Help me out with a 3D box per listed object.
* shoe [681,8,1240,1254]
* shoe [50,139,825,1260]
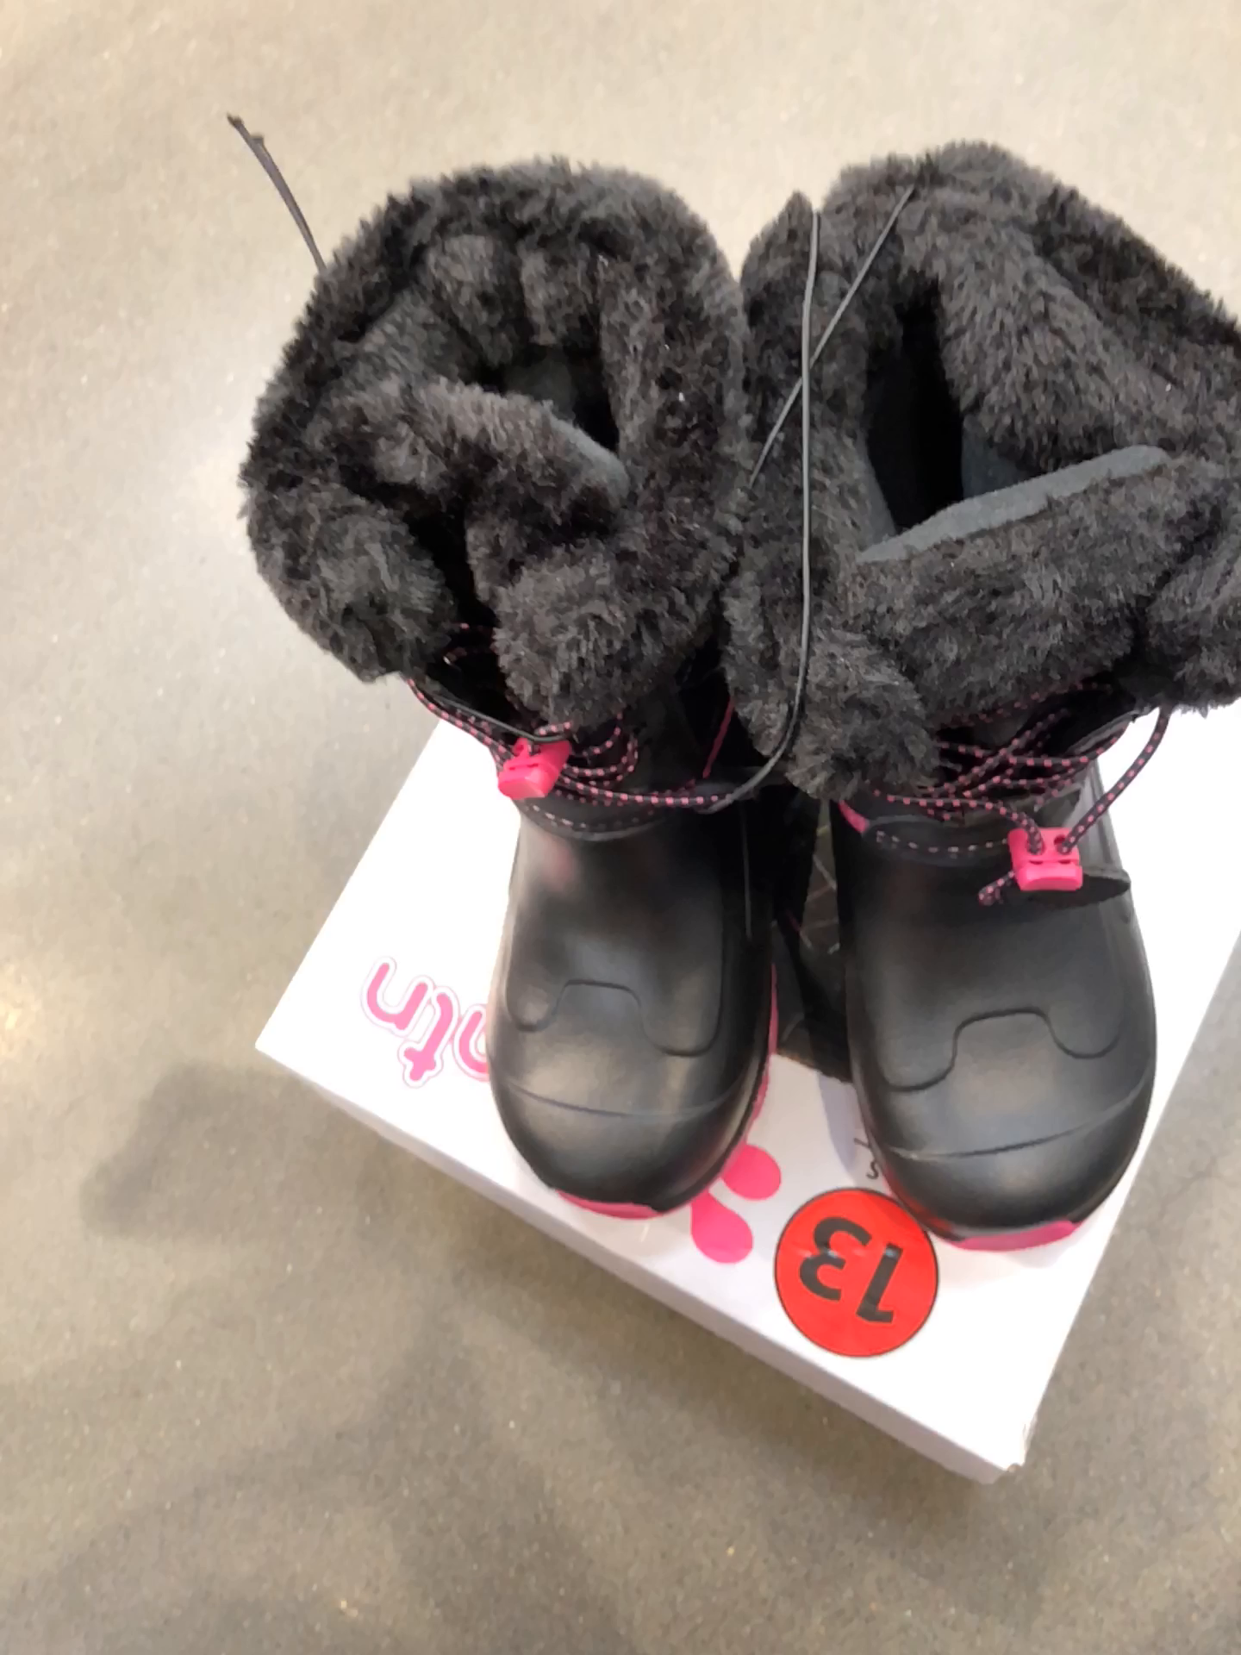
[{"bbox_3d":[0.090,-0.012,0.345,0.110,0.230,0.220,-5,72,9],"label":"shoe"},{"bbox_3d":[-0.015,-0.009,0.363,0.110,0.210,0.220,4,74,12],"label":"shoe"}]
